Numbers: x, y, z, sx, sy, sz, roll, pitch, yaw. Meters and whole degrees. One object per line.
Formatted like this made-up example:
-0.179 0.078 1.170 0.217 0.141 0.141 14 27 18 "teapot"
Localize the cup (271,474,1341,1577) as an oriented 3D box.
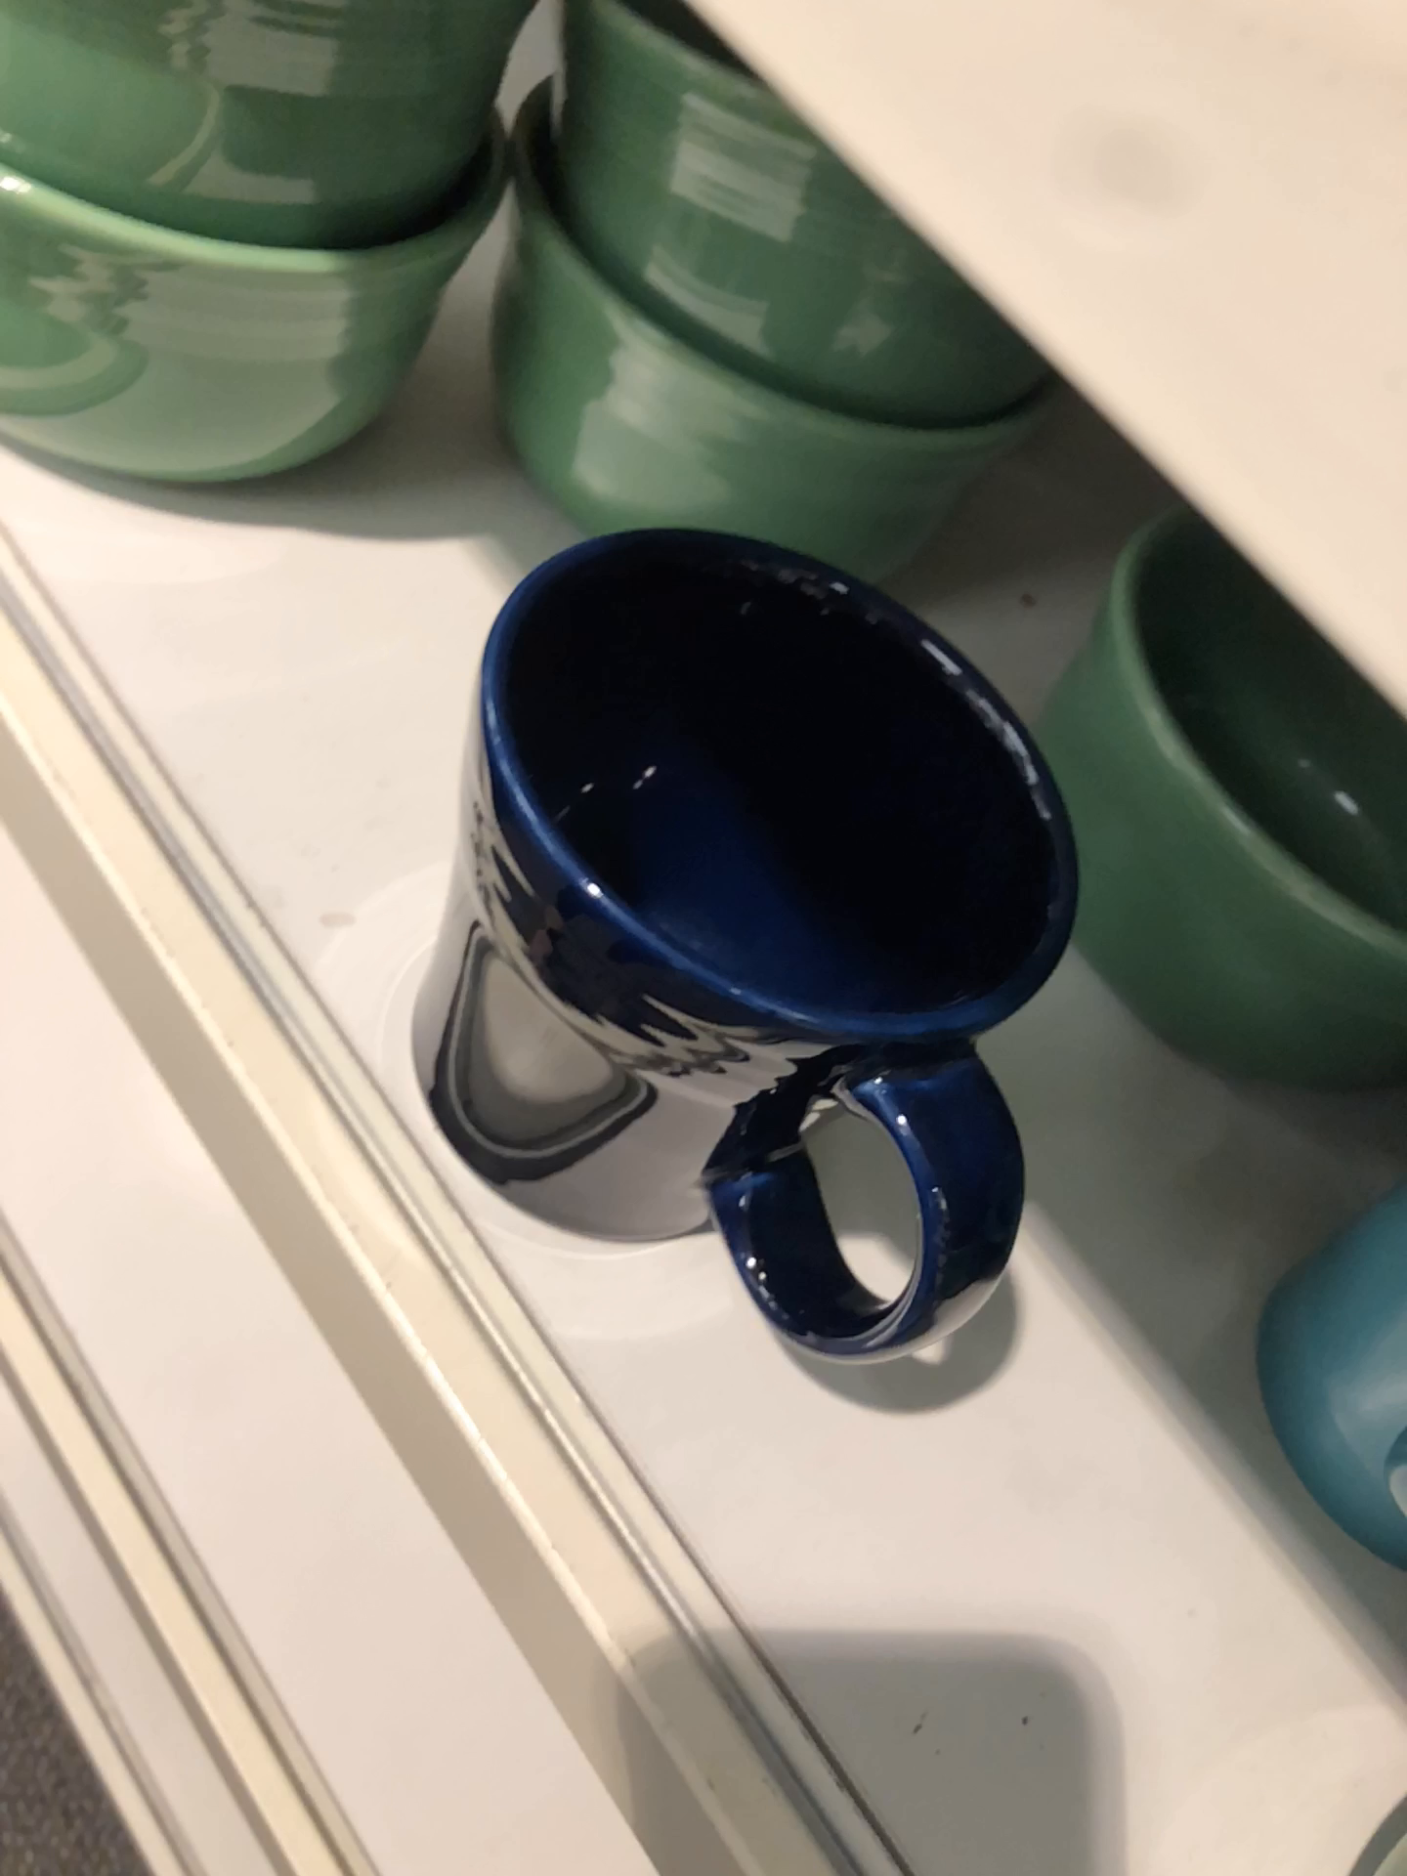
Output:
0.008 0.009 0.270 0.094 0.085 0.143 -23 66 -35 "cup"
